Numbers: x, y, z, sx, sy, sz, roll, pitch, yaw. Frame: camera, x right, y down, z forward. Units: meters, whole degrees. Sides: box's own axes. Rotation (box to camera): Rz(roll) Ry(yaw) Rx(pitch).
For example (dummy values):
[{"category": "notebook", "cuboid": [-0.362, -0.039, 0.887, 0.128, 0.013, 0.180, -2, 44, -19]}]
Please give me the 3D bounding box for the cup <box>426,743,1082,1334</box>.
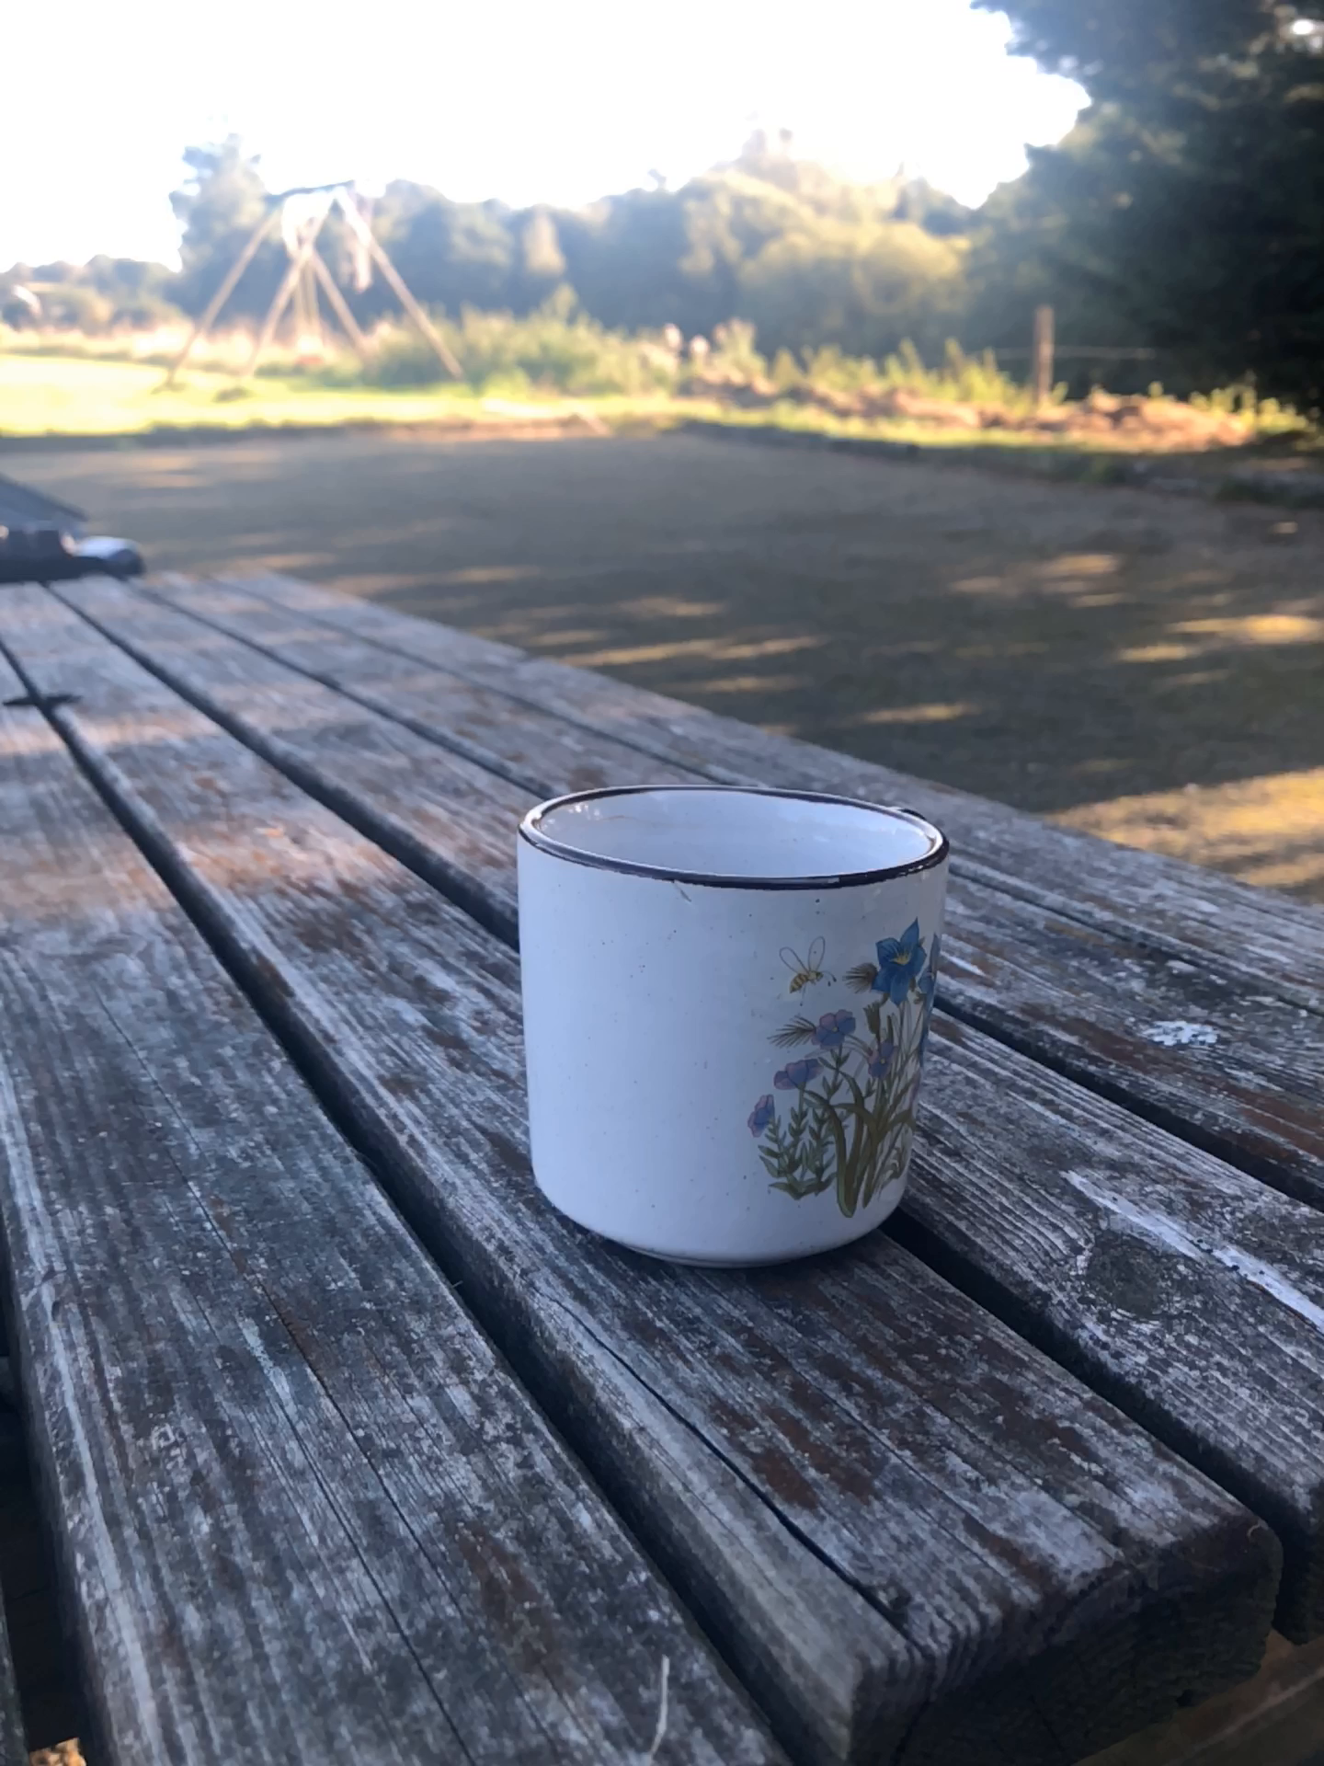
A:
[{"category": "cup", "cuboid": [0.022, 0.022, 0.310, 0.086, 0.078, 0.109, 12, 20, 39]}]
